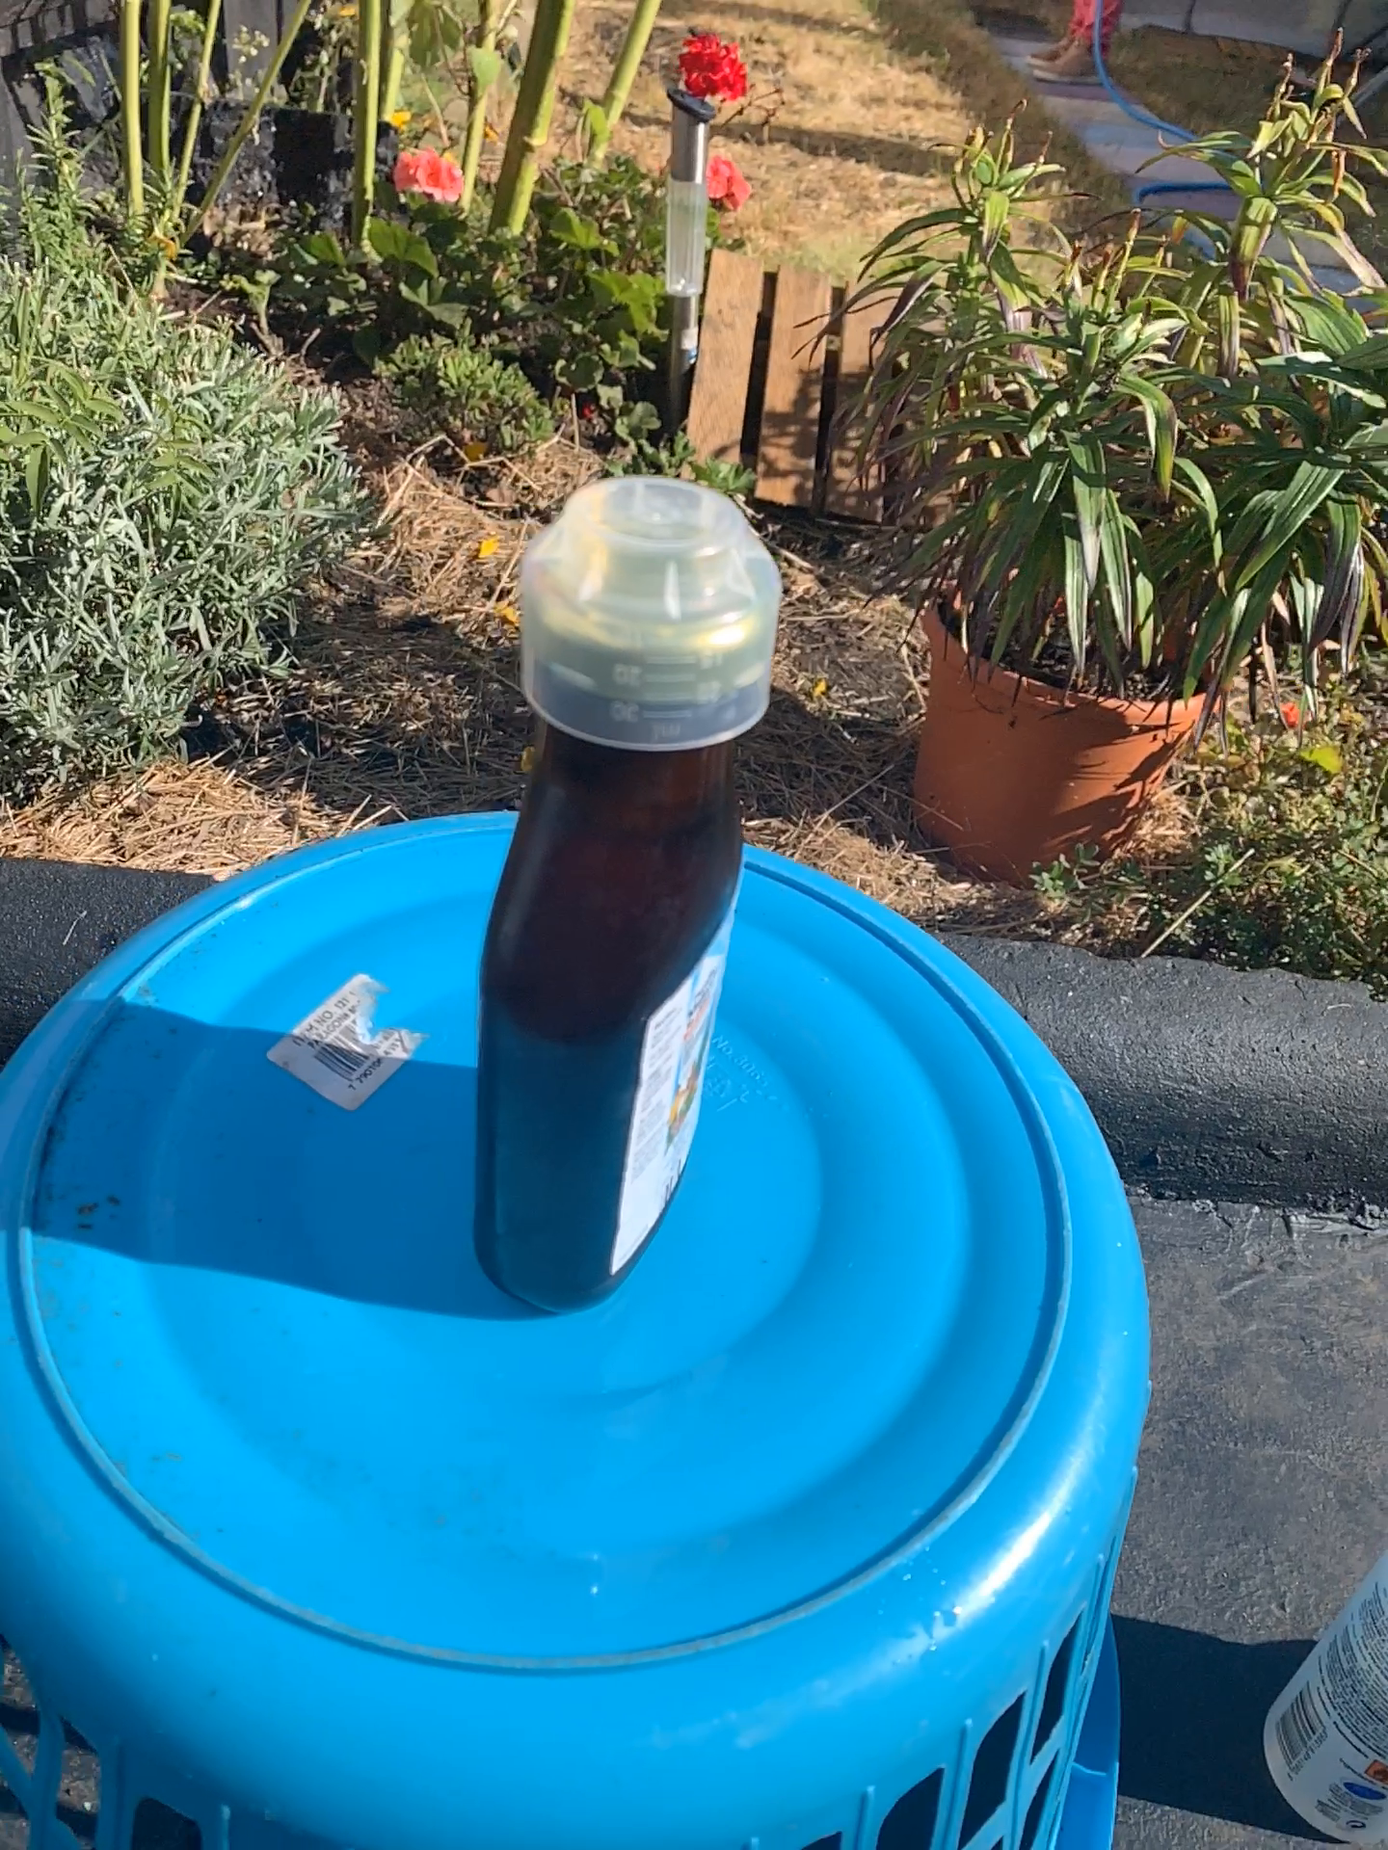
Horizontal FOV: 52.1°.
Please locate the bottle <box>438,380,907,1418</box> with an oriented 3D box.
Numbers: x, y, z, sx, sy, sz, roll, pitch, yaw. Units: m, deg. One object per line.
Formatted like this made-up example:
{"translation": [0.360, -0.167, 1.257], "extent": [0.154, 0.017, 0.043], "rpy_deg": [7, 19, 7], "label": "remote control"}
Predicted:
{"translation": [-0.010, 0.003, 0.295], "extent": [0.050, 0.198, 0.081], "rpy_deg": [18, 38, 12], "label": "bottle"}
